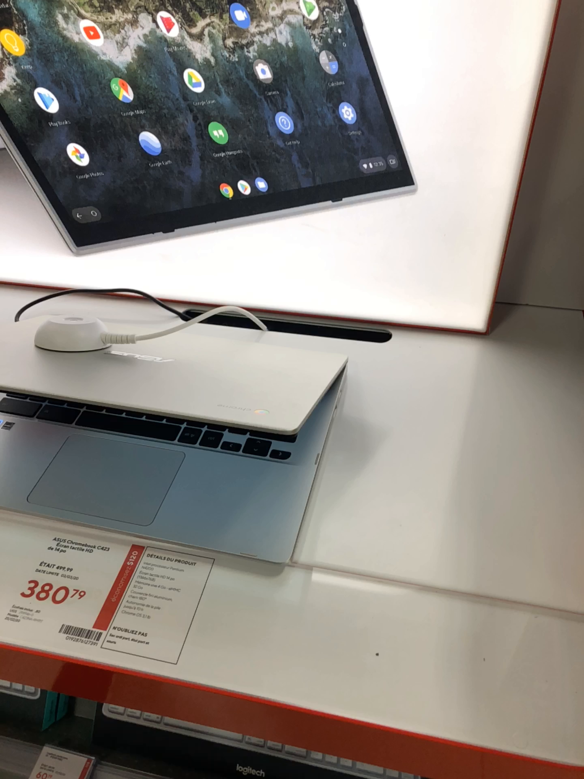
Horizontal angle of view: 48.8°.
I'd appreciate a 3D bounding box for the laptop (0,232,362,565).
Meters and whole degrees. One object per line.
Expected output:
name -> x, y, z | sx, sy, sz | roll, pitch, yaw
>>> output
laptop -> -0.123, -0.014, 0.514 | 0.317, 0.100, 0.226 | 8, 42, 12
